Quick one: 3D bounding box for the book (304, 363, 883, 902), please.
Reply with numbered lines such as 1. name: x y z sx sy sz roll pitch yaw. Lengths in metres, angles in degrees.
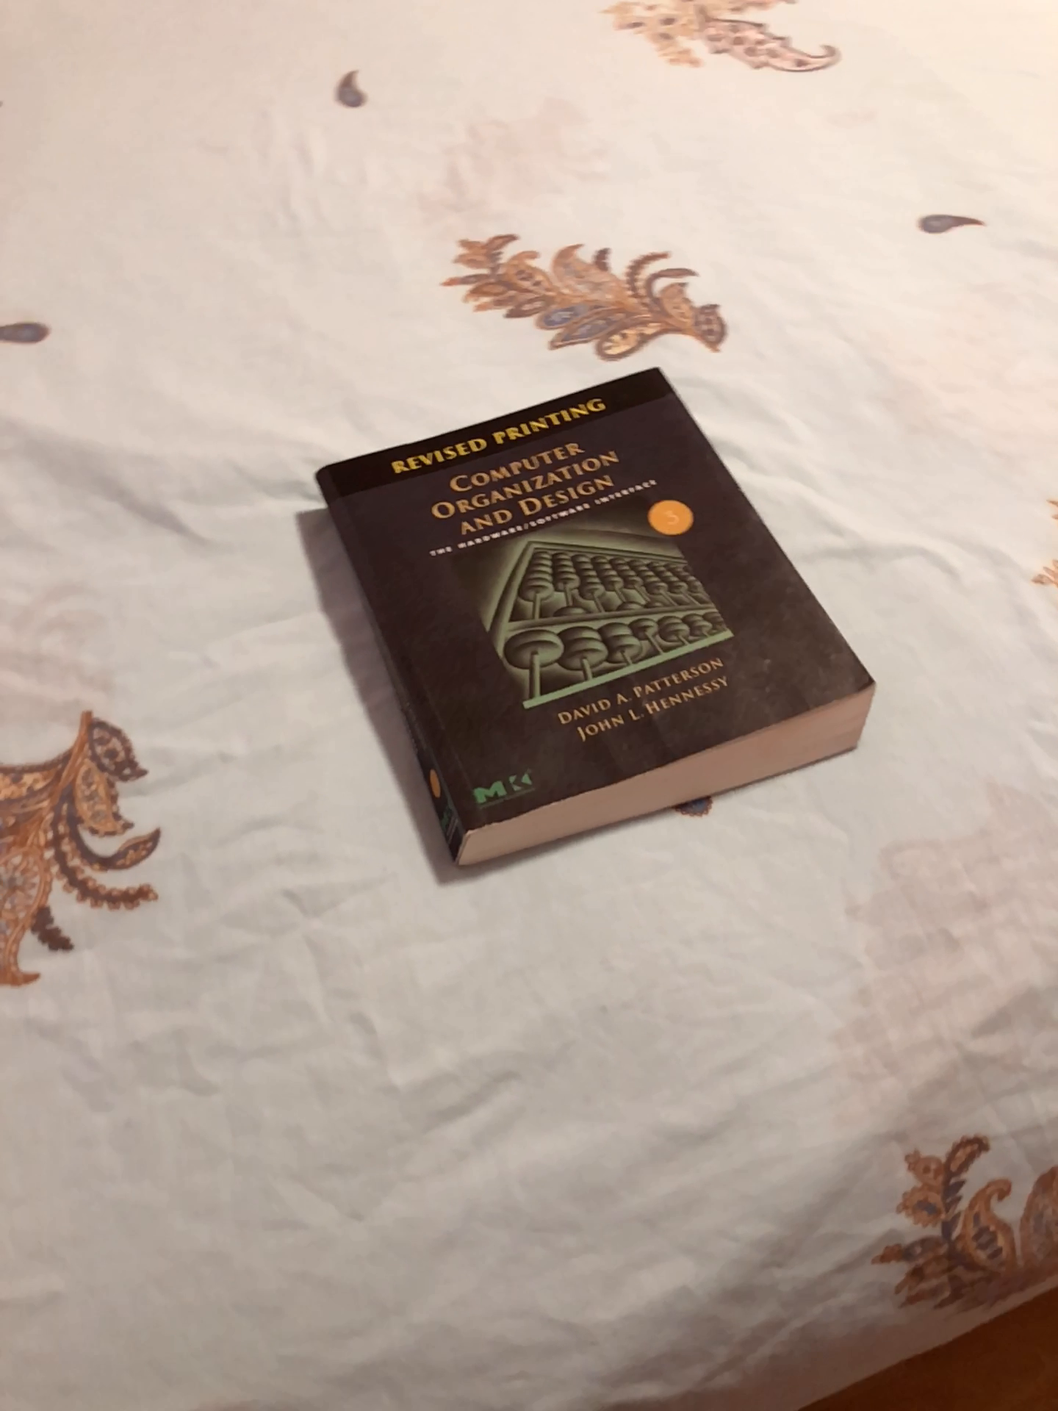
1. book: 0.022 -0.048 0.582 0.201 0.073 0.226 -18 59 -14
